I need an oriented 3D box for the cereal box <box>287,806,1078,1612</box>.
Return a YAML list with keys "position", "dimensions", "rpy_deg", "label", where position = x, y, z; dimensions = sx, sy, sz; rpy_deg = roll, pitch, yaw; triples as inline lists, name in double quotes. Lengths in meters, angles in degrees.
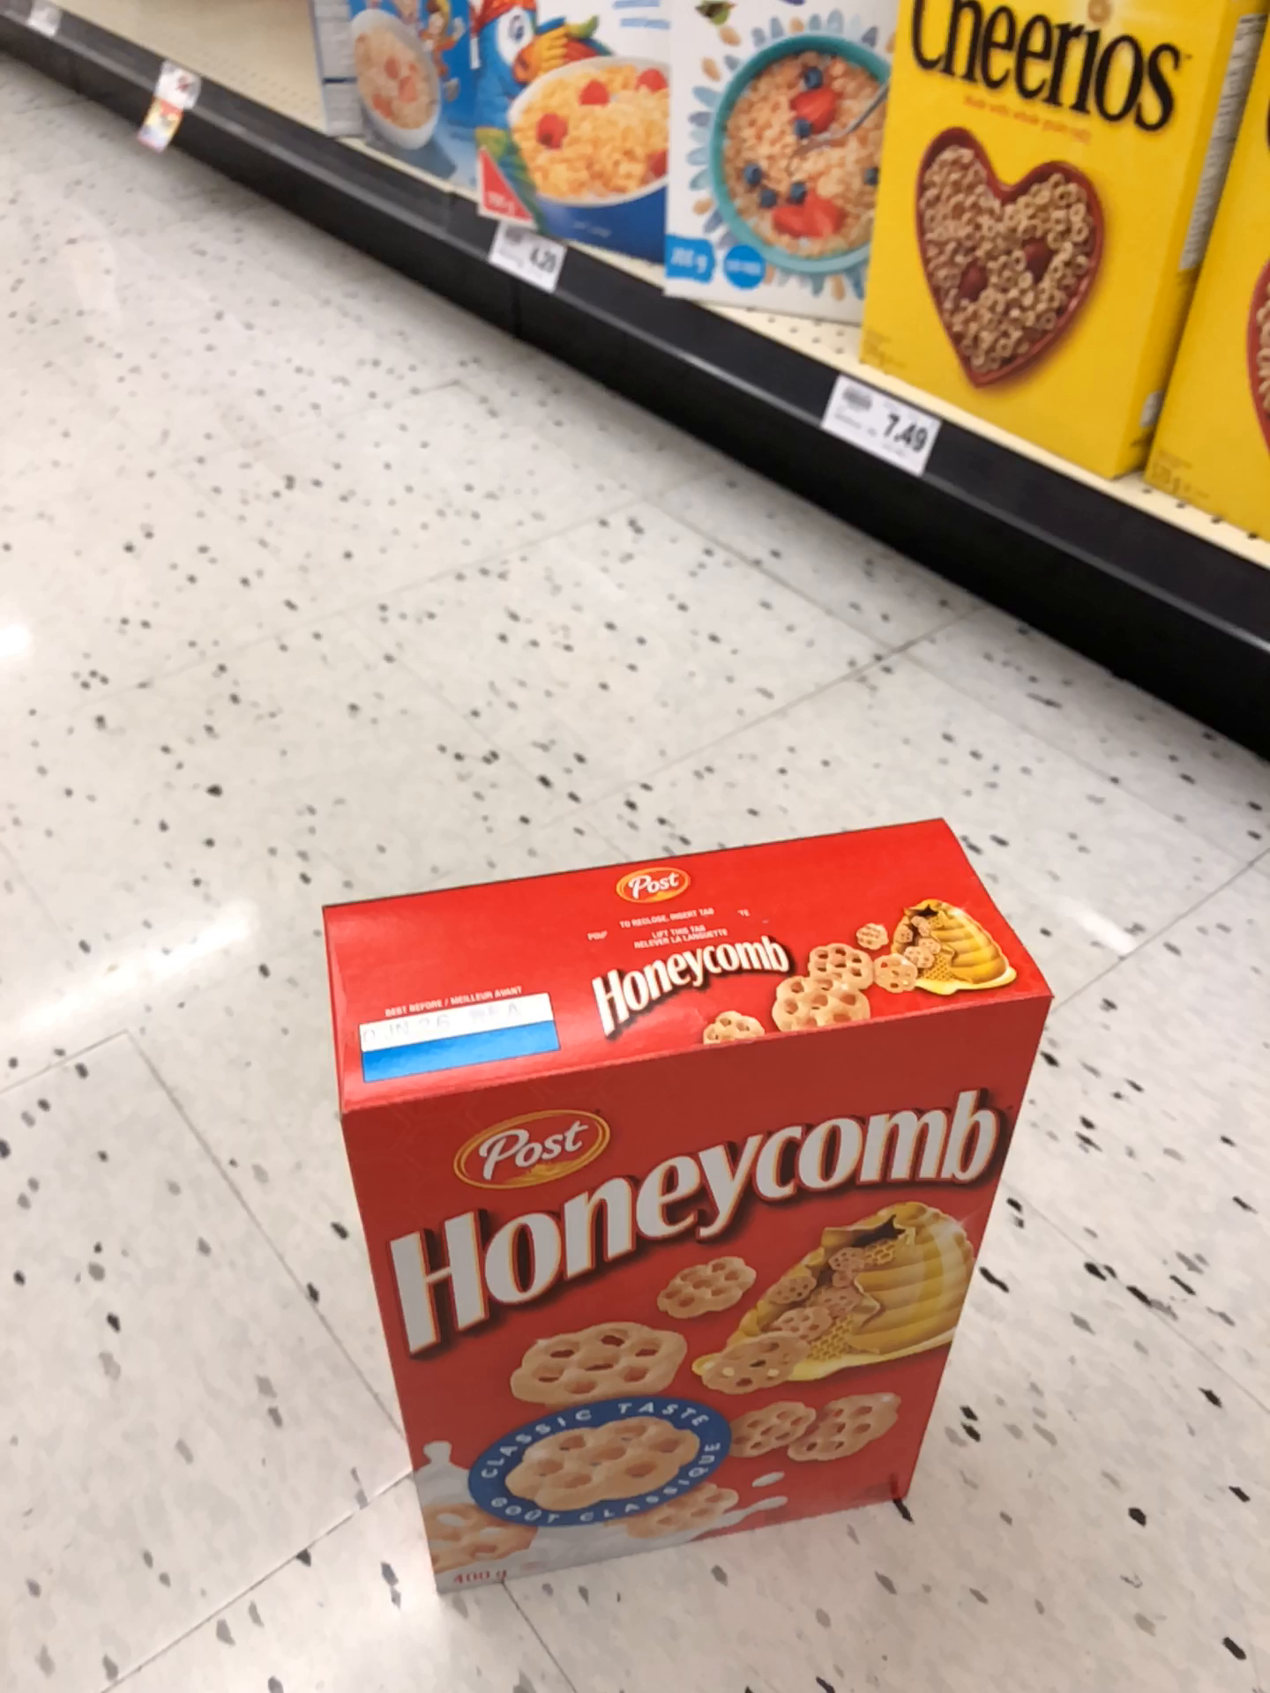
- position: [0.007, 0.138, 0.476]
  dimensions: [0.200, 0.298, 0.080]
  rpy_deg: [-7, 42, -9]
  label: "cereal box"
